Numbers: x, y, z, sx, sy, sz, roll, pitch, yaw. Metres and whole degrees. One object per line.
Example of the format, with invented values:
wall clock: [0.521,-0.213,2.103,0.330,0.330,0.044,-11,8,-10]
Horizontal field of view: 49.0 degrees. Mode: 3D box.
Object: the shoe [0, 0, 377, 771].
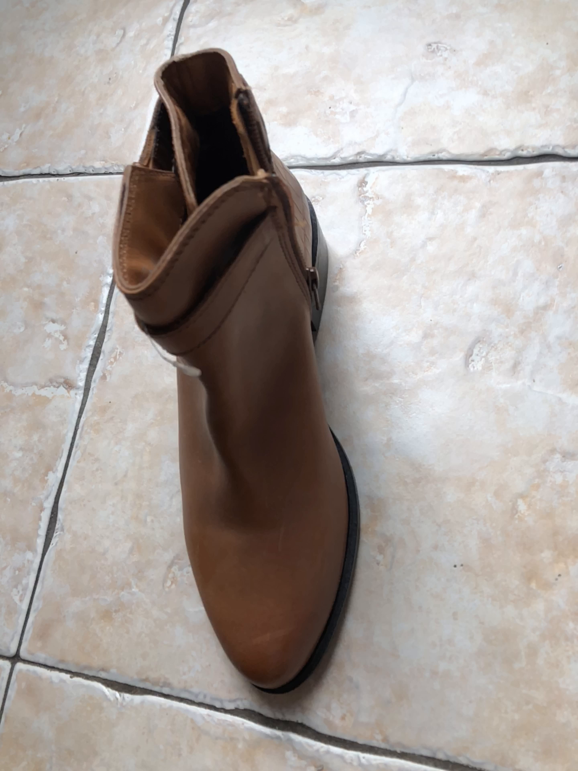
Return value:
shoe: [-0.021,-0.010,0.294,0.090,0.180,0.301,-4,71,17]
